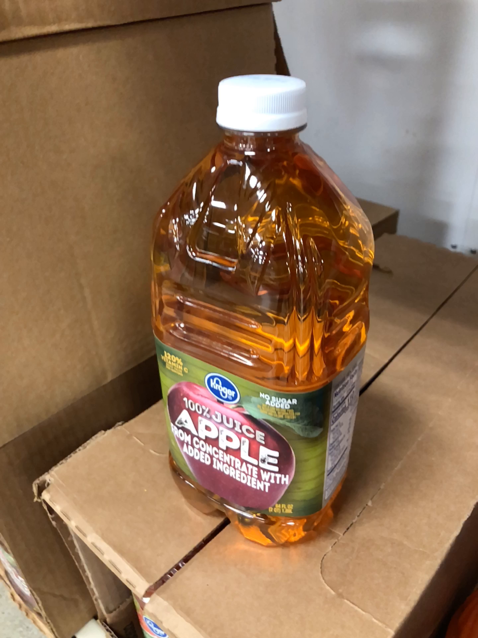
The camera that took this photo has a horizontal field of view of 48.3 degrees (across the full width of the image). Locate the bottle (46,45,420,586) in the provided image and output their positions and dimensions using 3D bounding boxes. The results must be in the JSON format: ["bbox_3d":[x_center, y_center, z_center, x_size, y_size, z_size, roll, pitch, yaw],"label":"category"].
[{"bbox_3d":[0.007,0.002,0.293,0.120,0.259,0.100,19,40,31],"label":"bottle"}]
